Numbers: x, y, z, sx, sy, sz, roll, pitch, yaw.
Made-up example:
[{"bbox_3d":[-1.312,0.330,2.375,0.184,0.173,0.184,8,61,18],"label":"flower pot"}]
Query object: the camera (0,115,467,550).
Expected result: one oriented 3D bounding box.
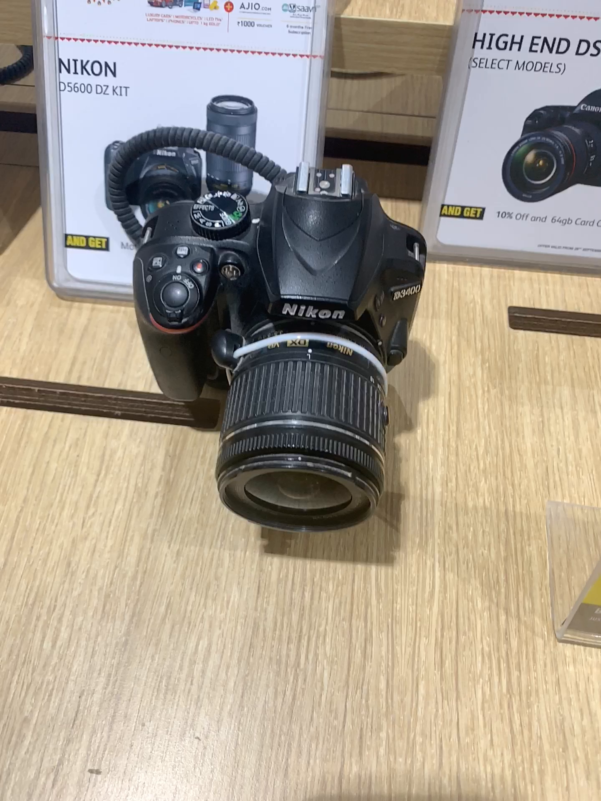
[{"bbox_3d":[-0.015,-0.024,0.233,0.120,0.100,0.120,3,56,2],"label":"camera"}]
